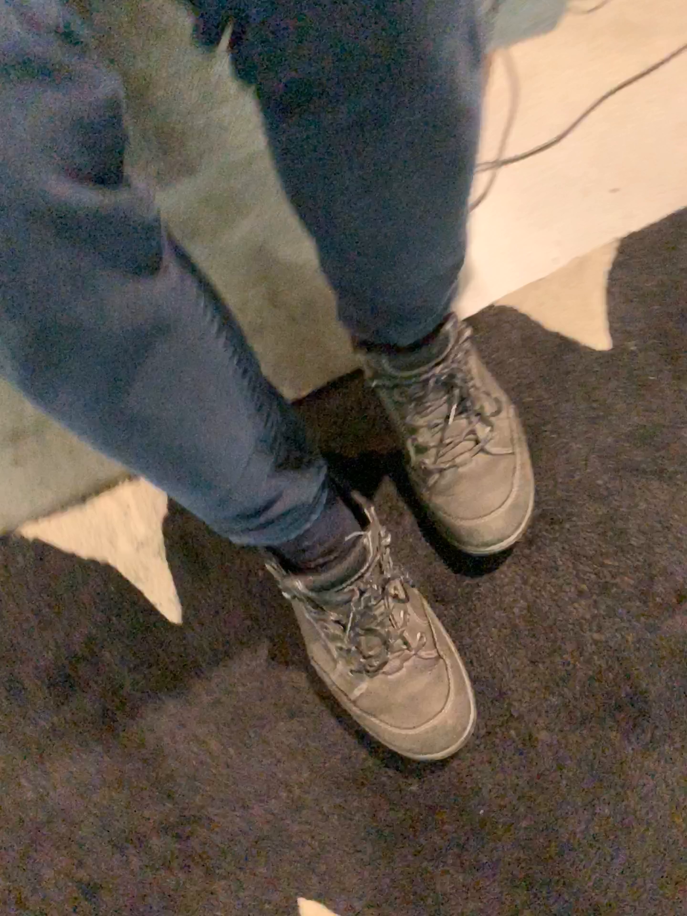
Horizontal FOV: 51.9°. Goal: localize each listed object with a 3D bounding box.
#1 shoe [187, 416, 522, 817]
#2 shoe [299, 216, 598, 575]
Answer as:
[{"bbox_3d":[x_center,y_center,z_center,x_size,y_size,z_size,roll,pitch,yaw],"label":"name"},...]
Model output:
[{"bbox_3d":[0.005,0.122,0.587,0.121,0.077,0.287,-35,77,-2],"label":"shoe"},{"bbox_3d":[0.084,-0.054,0.622,0.119,0.077,0.284,-29,77,-1],"label":"shoe"}]
